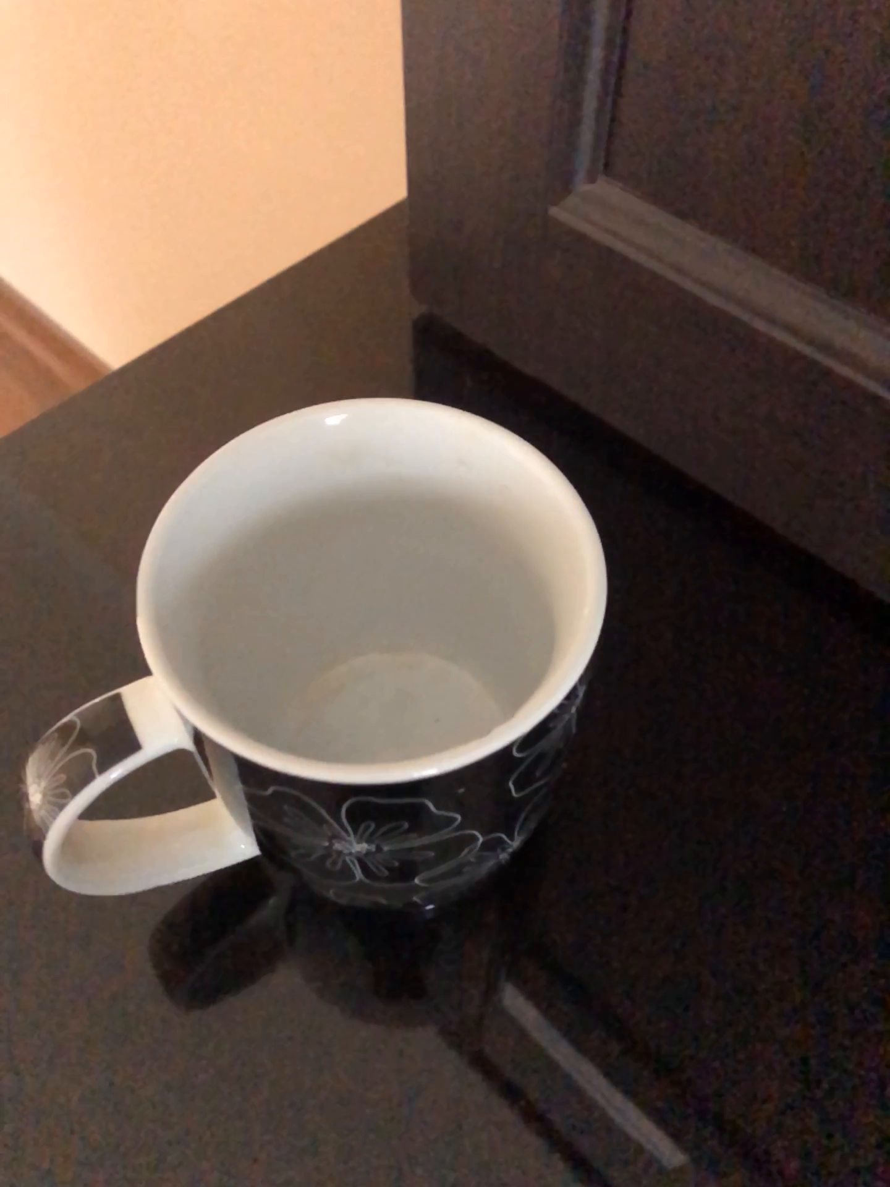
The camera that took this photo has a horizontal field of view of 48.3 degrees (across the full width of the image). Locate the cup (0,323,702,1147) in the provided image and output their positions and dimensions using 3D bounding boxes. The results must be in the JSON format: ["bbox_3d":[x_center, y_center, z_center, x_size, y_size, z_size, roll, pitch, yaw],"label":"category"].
[{"bbox_3d":[-0.033,0.027,0.202,0.120,0.089,0.090,-27,59,-18],"label":"cup"}]
